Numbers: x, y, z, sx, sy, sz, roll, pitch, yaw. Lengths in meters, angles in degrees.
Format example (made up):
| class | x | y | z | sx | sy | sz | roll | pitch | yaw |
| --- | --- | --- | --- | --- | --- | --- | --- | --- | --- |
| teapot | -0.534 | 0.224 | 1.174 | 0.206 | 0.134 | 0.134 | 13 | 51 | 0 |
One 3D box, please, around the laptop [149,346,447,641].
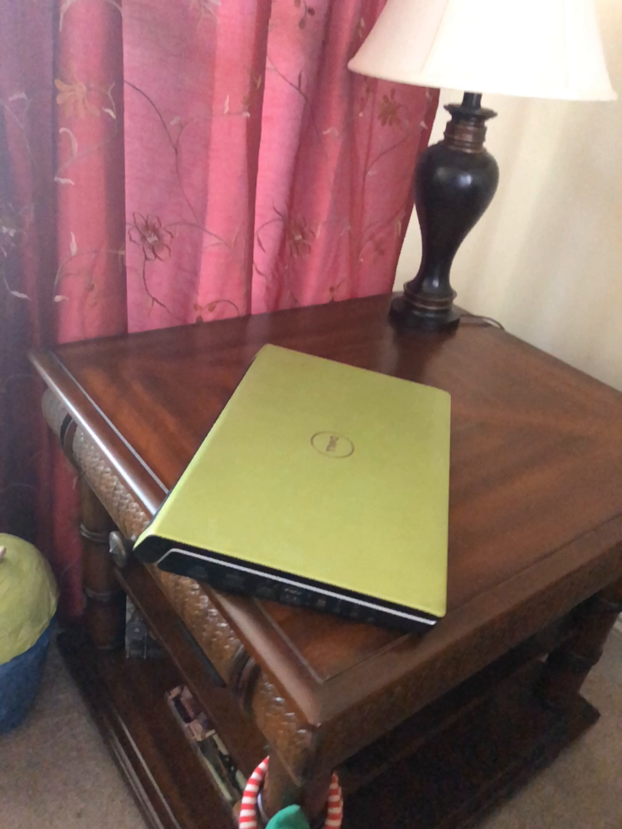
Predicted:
| class | x | y | z | sx | sy | sz | roll | pitch | yaw |
| --- | --- | --- | --- | --- | --- | --- | --- | --- | --- |
| laptop | 0.020 | 0.046 | 0.701 | 0.236 | 0.020 | 0.380 | 16 | 31 | 3 |
